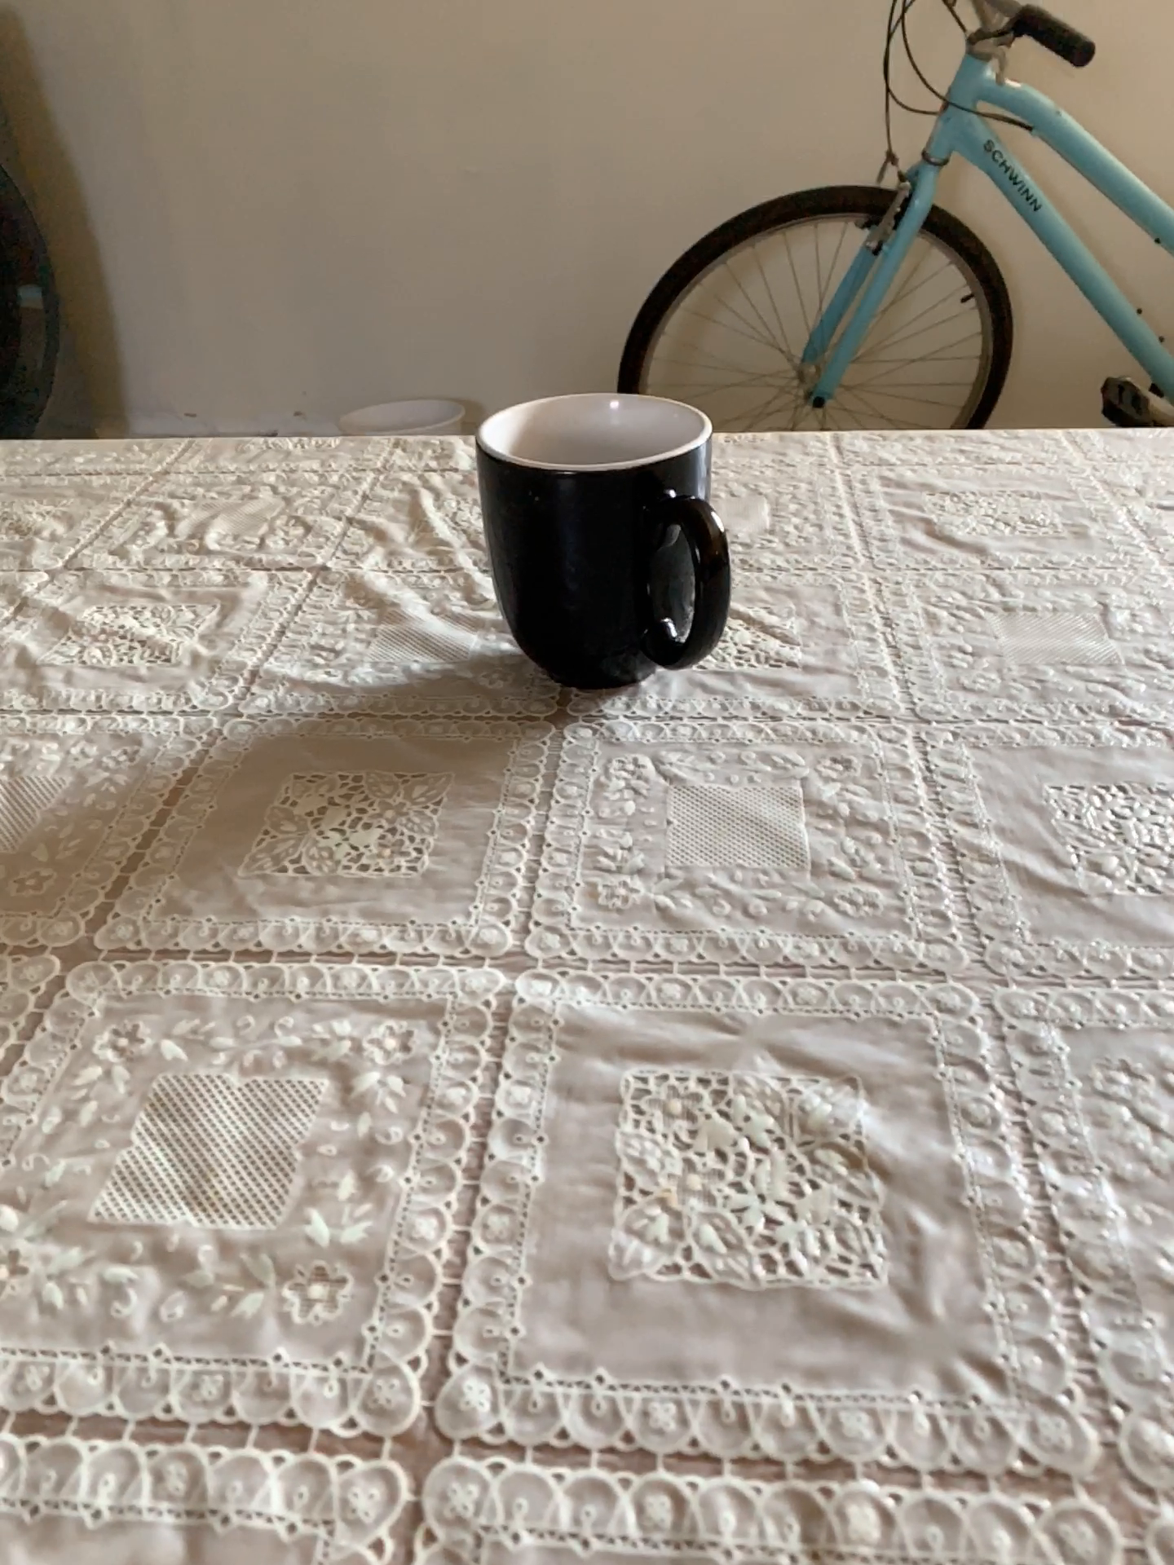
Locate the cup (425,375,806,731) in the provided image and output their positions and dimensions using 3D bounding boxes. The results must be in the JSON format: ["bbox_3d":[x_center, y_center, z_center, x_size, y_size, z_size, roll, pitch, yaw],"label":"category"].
[{"bbox_3d":[0.010,-0.100,0.491,0.090,0.090,0.131,-22,37,-26],"label":"cup"}]
